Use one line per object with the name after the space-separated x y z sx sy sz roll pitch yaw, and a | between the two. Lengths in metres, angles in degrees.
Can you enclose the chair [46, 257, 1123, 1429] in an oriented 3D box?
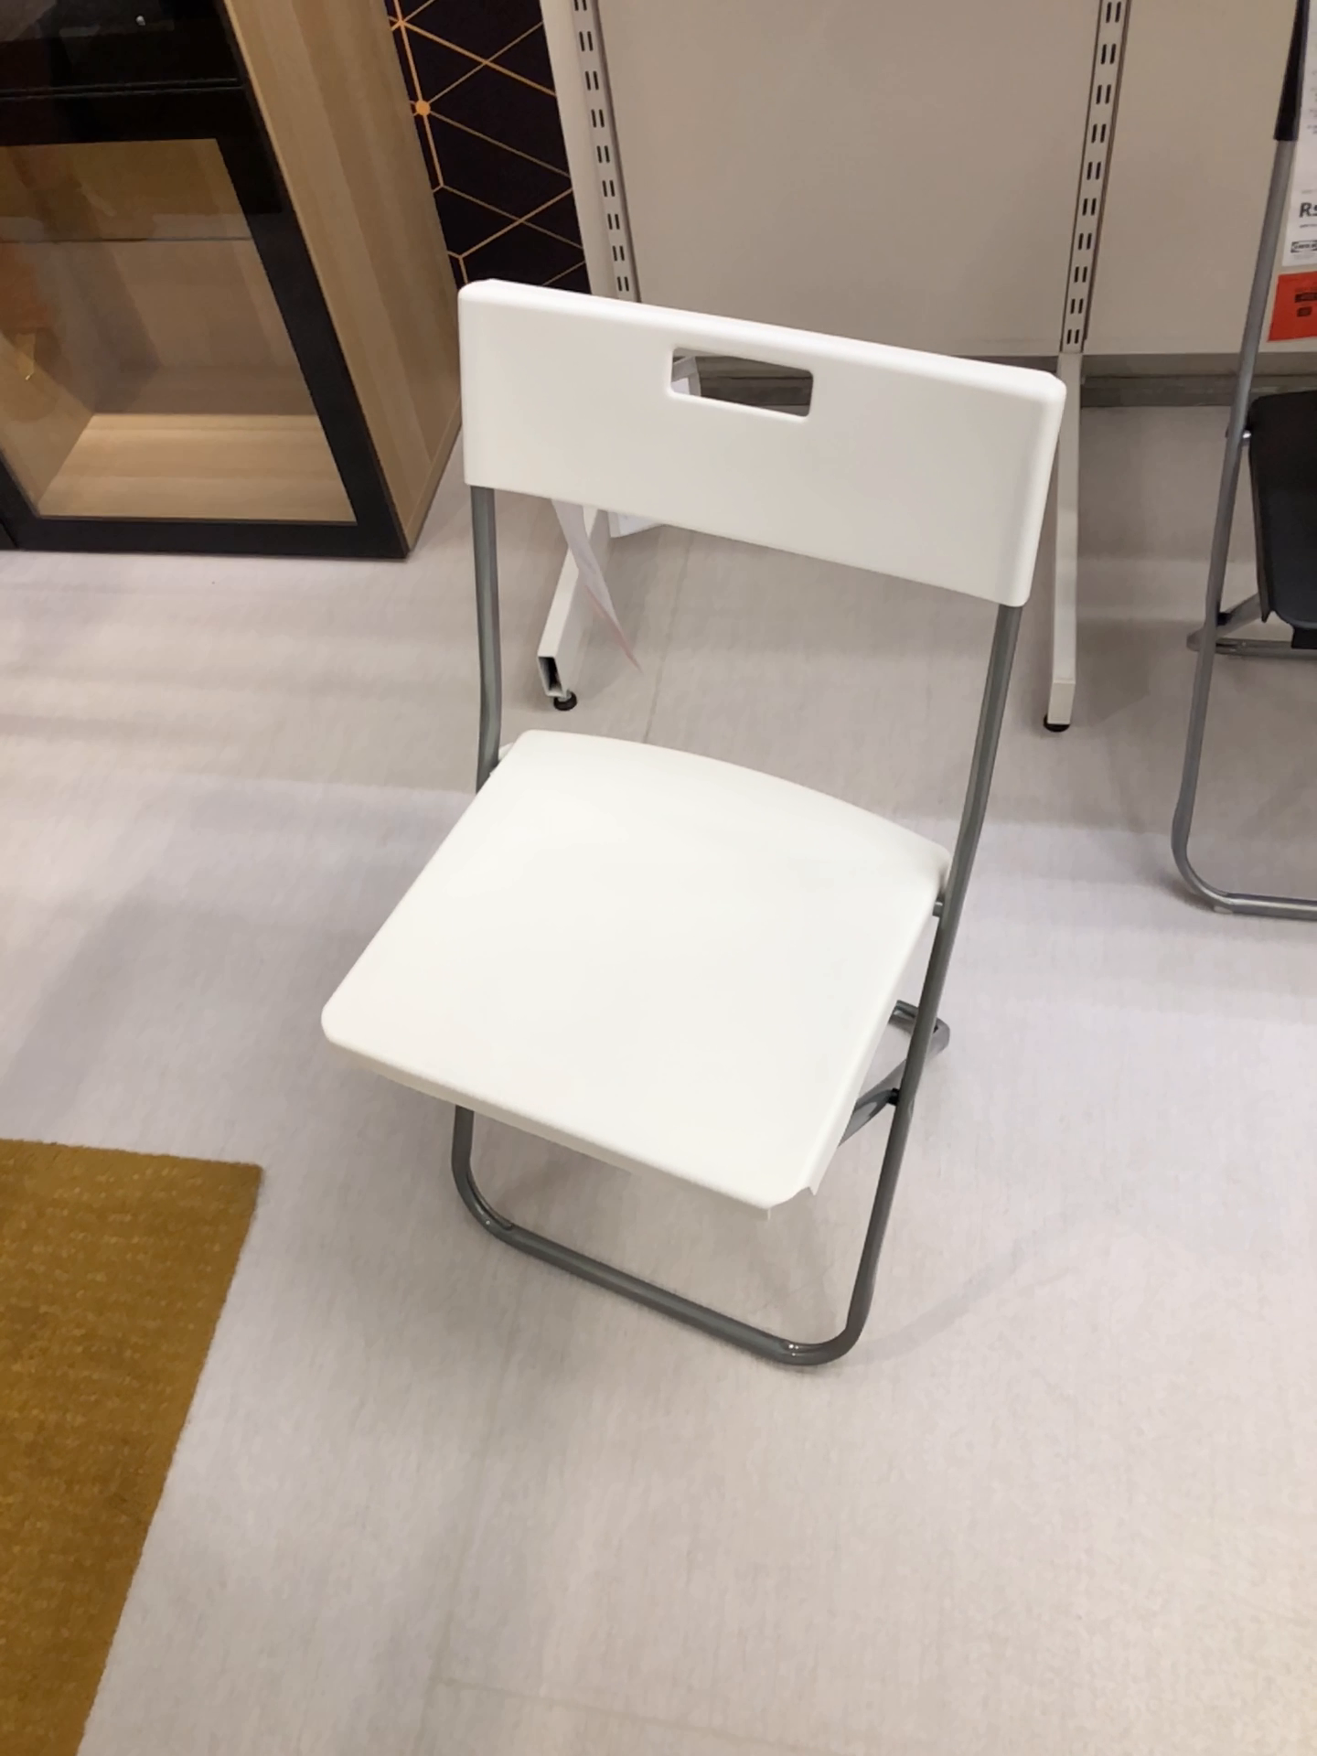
0.013 0.021 1.064 0.451 0.726 0.401 18 59 20 | chair
